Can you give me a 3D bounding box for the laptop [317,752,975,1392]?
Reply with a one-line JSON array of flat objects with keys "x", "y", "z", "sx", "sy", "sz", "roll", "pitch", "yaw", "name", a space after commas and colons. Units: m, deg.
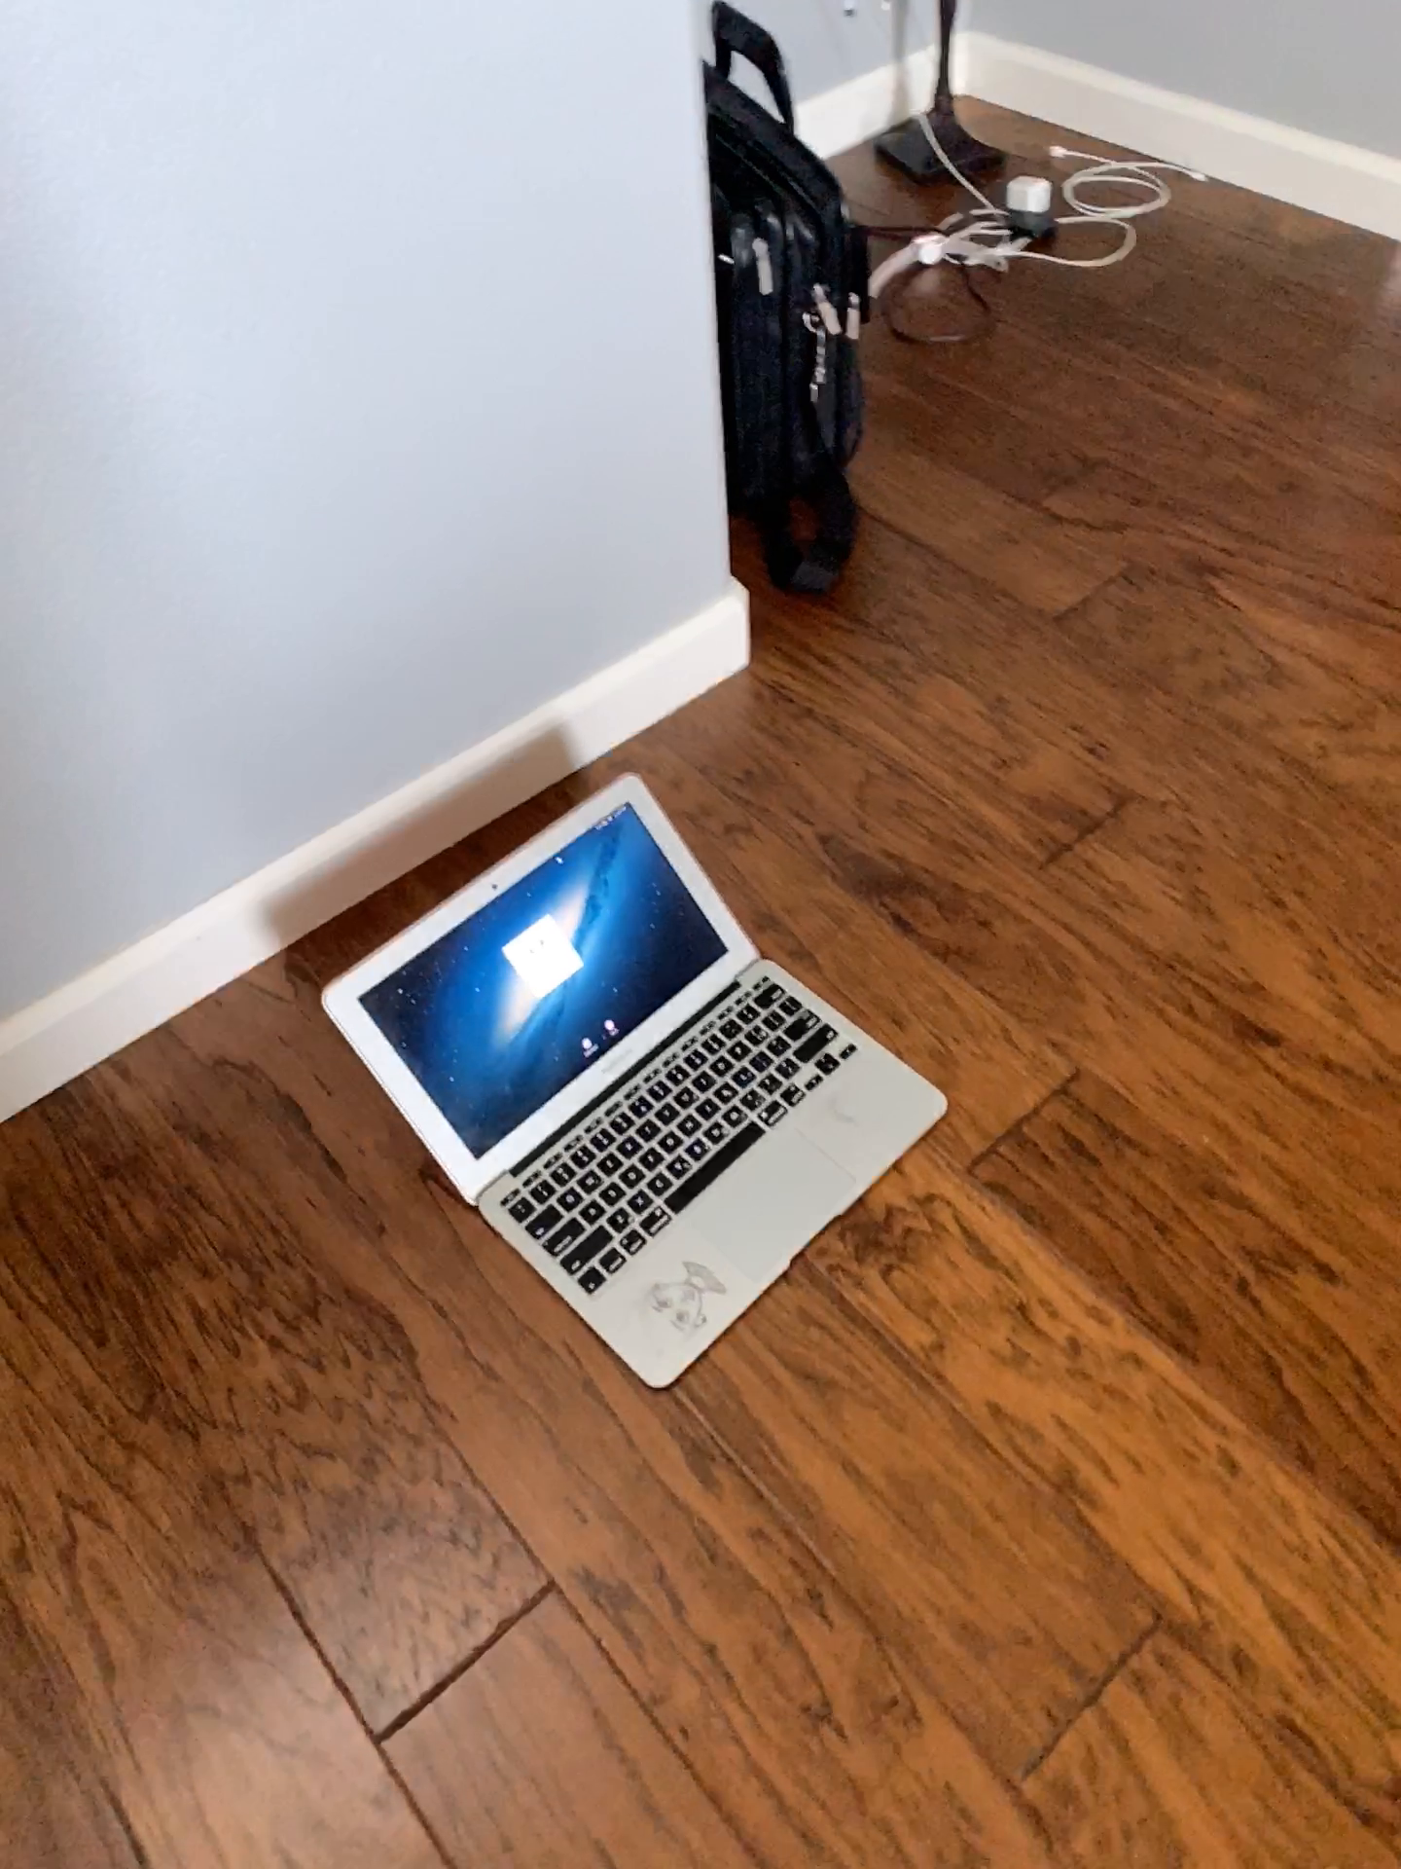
[{"x": -0.036, "y": 0.075, "z": 0.980, "sx": 0.293, "sy": 0.117, "sz": 0.323, "roll": -39, "pitch": 59, "yaw": -23, "name": "laptop"}]
